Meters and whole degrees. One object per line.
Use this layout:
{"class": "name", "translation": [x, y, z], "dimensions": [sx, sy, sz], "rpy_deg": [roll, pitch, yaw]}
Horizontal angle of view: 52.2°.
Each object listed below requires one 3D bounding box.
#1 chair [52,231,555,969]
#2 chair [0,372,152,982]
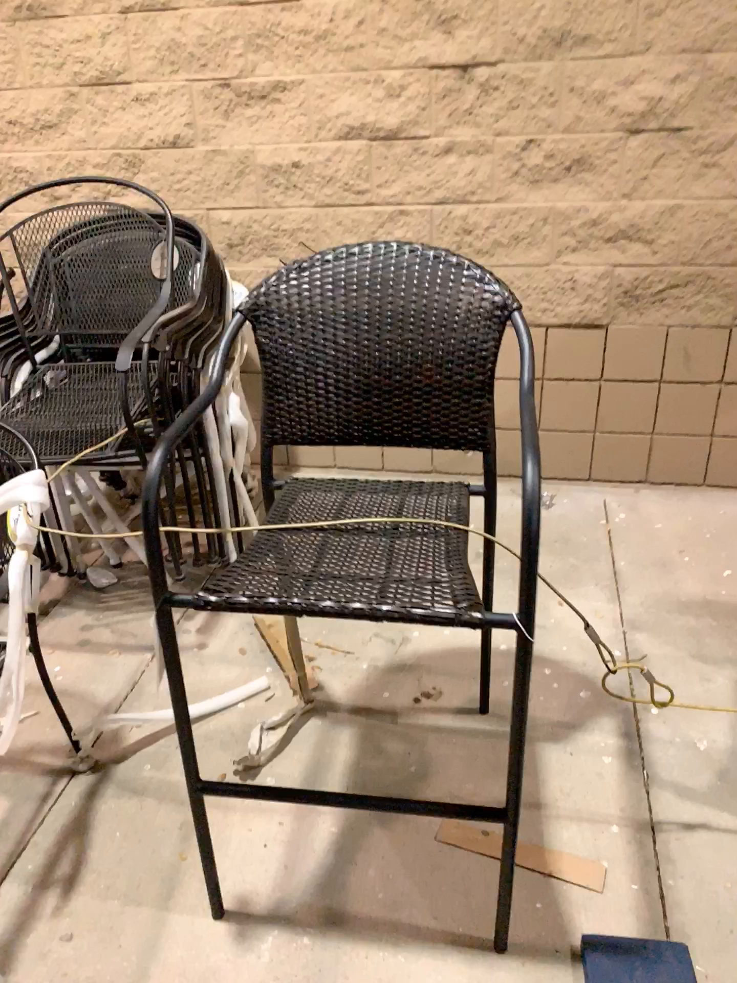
{"class": "chair", "translation": [-0.017, 0.173, 1.334], "dimensions": [0.557, 1.101, 0.610], "rpy_deg": [2, 28, 9]}
{"class": "chair", "translation": [-0.834, 0.295, 1.313], "dimensions": [0.577, 0.833, 0.610], "rpy_deg": [1, 28, 6]}
